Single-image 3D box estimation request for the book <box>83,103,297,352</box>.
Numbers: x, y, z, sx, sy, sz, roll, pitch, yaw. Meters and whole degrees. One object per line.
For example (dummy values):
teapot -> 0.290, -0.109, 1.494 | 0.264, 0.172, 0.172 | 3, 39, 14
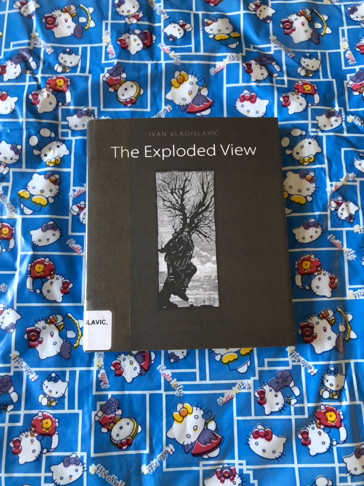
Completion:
book -> 0.003, -0.013, 0.287 | 0.140, 0.020, 0.170 | -1, 82, -2
